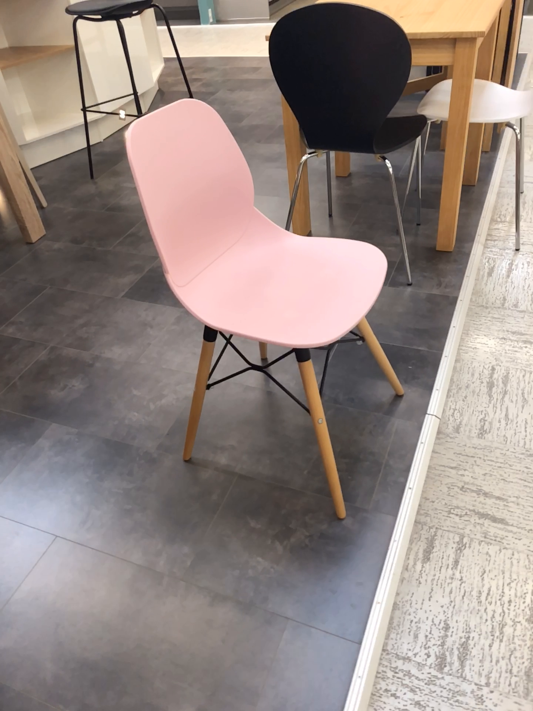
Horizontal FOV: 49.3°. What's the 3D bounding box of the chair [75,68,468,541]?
[{"bbox_3d":[0.074,-0.130,1.355,0.549,0.846,0.555,14,44,24],"label":"chair"}]
